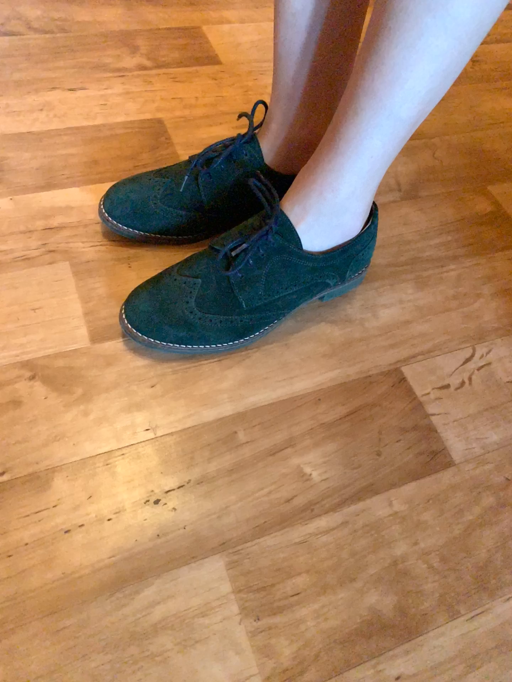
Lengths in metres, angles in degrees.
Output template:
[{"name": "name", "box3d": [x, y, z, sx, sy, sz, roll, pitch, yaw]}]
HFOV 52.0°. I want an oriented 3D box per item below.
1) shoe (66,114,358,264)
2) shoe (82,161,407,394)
[{"name": "shoe", "box3d": [-0.043, -0.157, 0.527, 0.260, 0.080, 0.090, -12, 62, -18]}, {"name": "shoe", "box3d": [-0.006, -0.063, 0.458, 0.250, 0.080, 0.100, -24, 66, -23]}]
